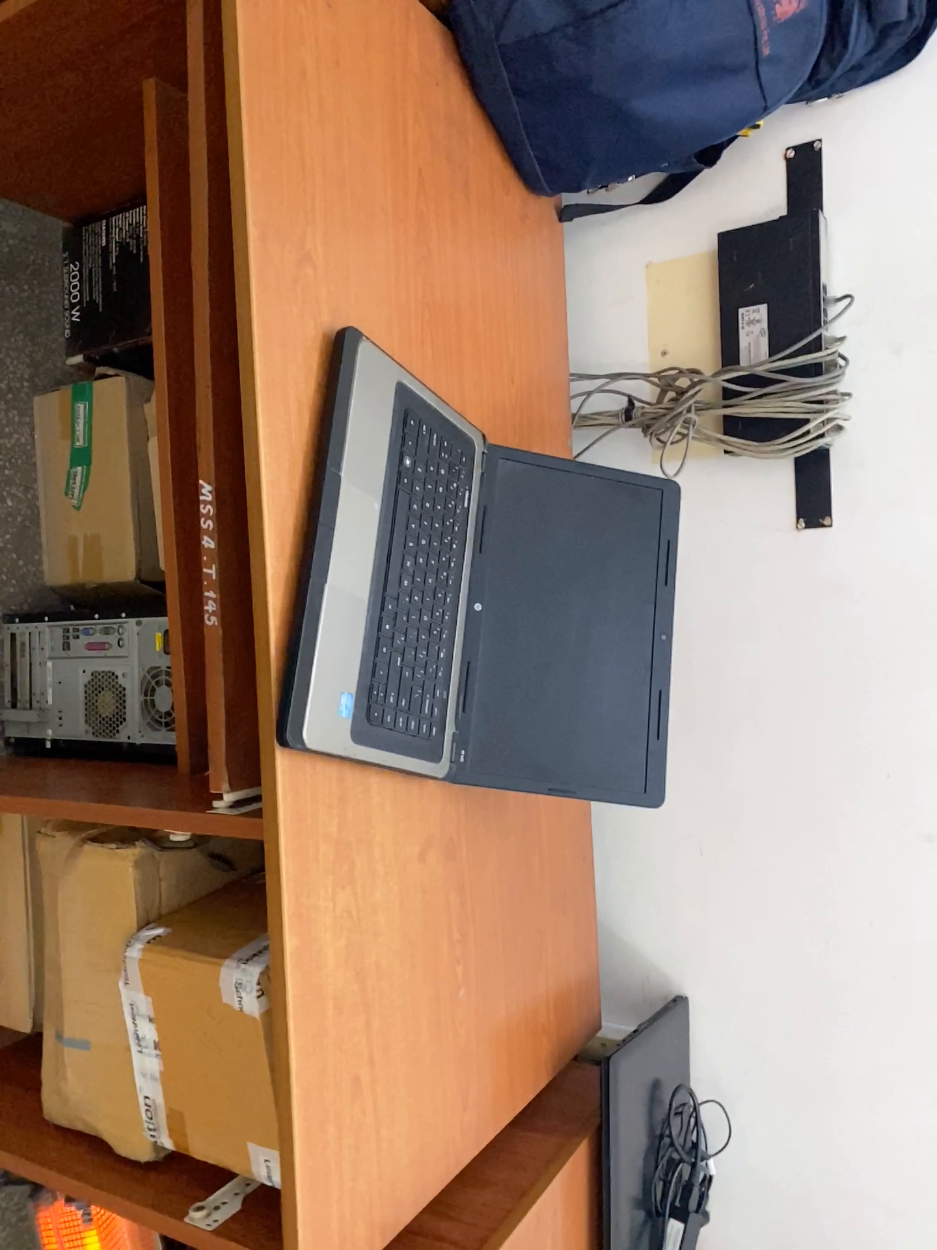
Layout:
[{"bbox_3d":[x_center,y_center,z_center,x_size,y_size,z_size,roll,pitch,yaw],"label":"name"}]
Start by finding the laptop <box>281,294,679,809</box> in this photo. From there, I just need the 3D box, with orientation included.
[{"bbox_3d":[0.049,-0.033,0.954,0.428,0.158,0.383,26,66,-54],"label":"laptop"}]
